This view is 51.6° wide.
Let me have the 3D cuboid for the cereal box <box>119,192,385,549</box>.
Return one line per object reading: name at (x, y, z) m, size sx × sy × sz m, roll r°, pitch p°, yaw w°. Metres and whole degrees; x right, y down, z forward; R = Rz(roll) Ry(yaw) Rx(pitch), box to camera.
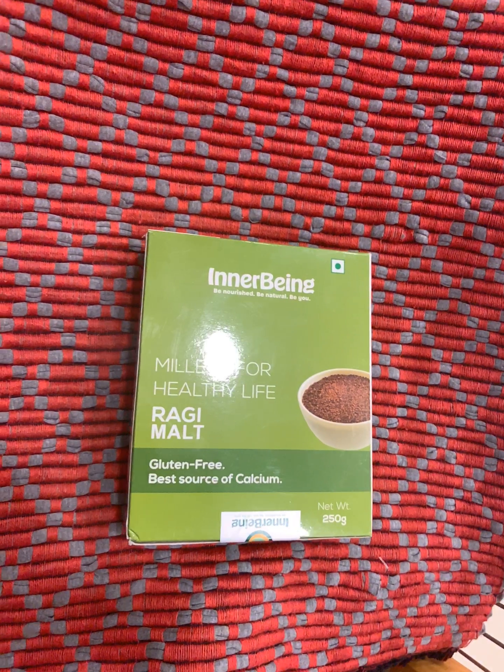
cereal box at (0.001, 0.020, 0.286) m, size 0.130 × 0.050 × 0.170 m, roll 4°, pitch 80°, yaw -13°
